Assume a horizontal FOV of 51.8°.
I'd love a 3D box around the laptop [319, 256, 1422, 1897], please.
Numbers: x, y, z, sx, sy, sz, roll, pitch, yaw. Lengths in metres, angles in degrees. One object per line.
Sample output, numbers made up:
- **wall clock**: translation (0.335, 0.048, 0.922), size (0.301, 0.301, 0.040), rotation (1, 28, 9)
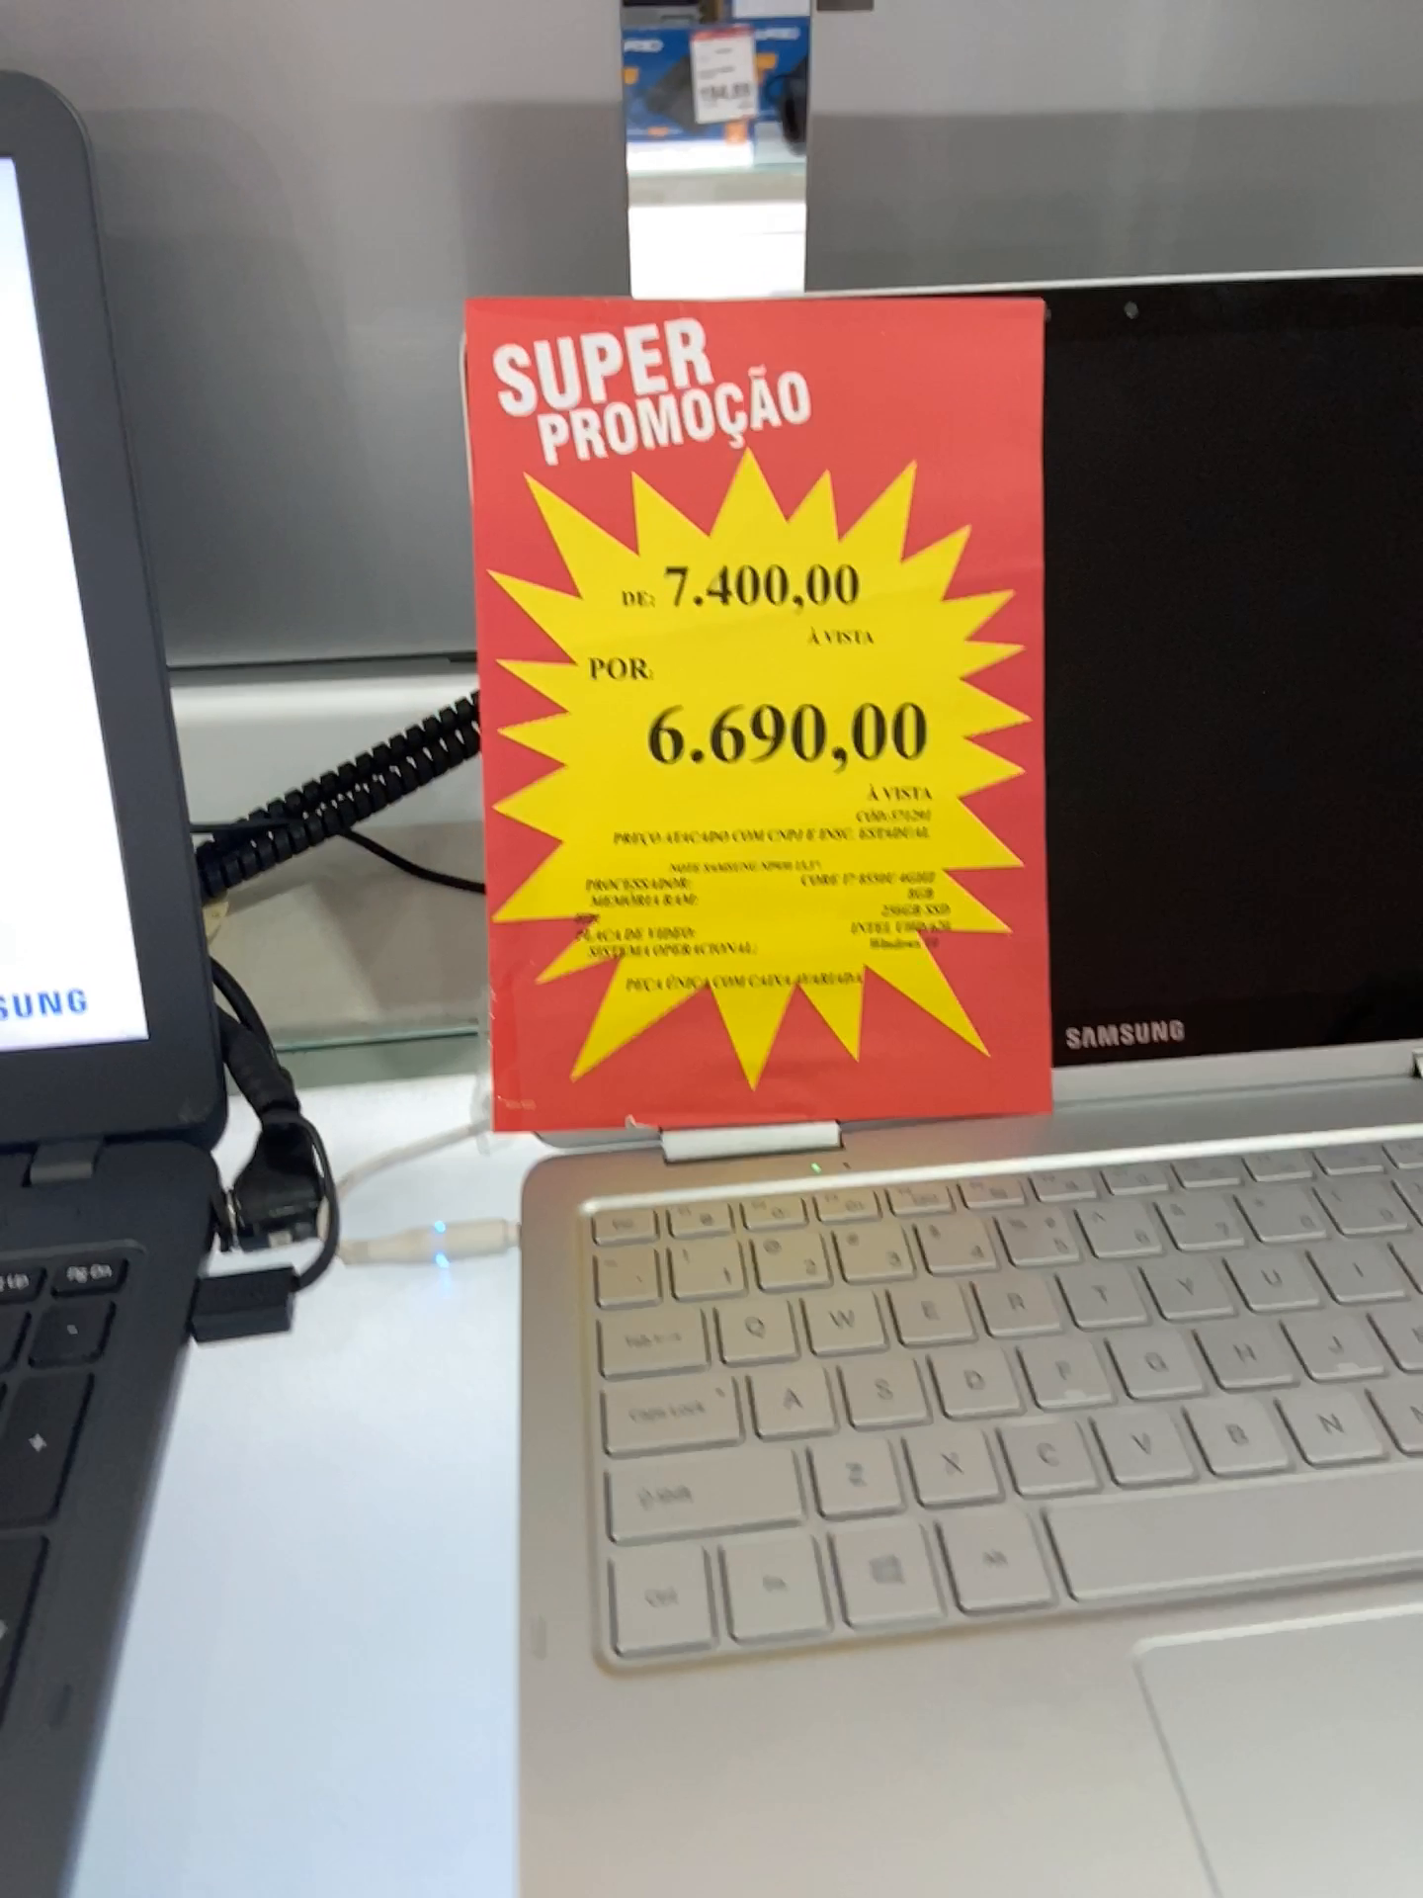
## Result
- **laptop**: translation (0.111, -0.008, 0.283), size (0.305, 0.170, 0.312), rotation (-5, 34, -4)
